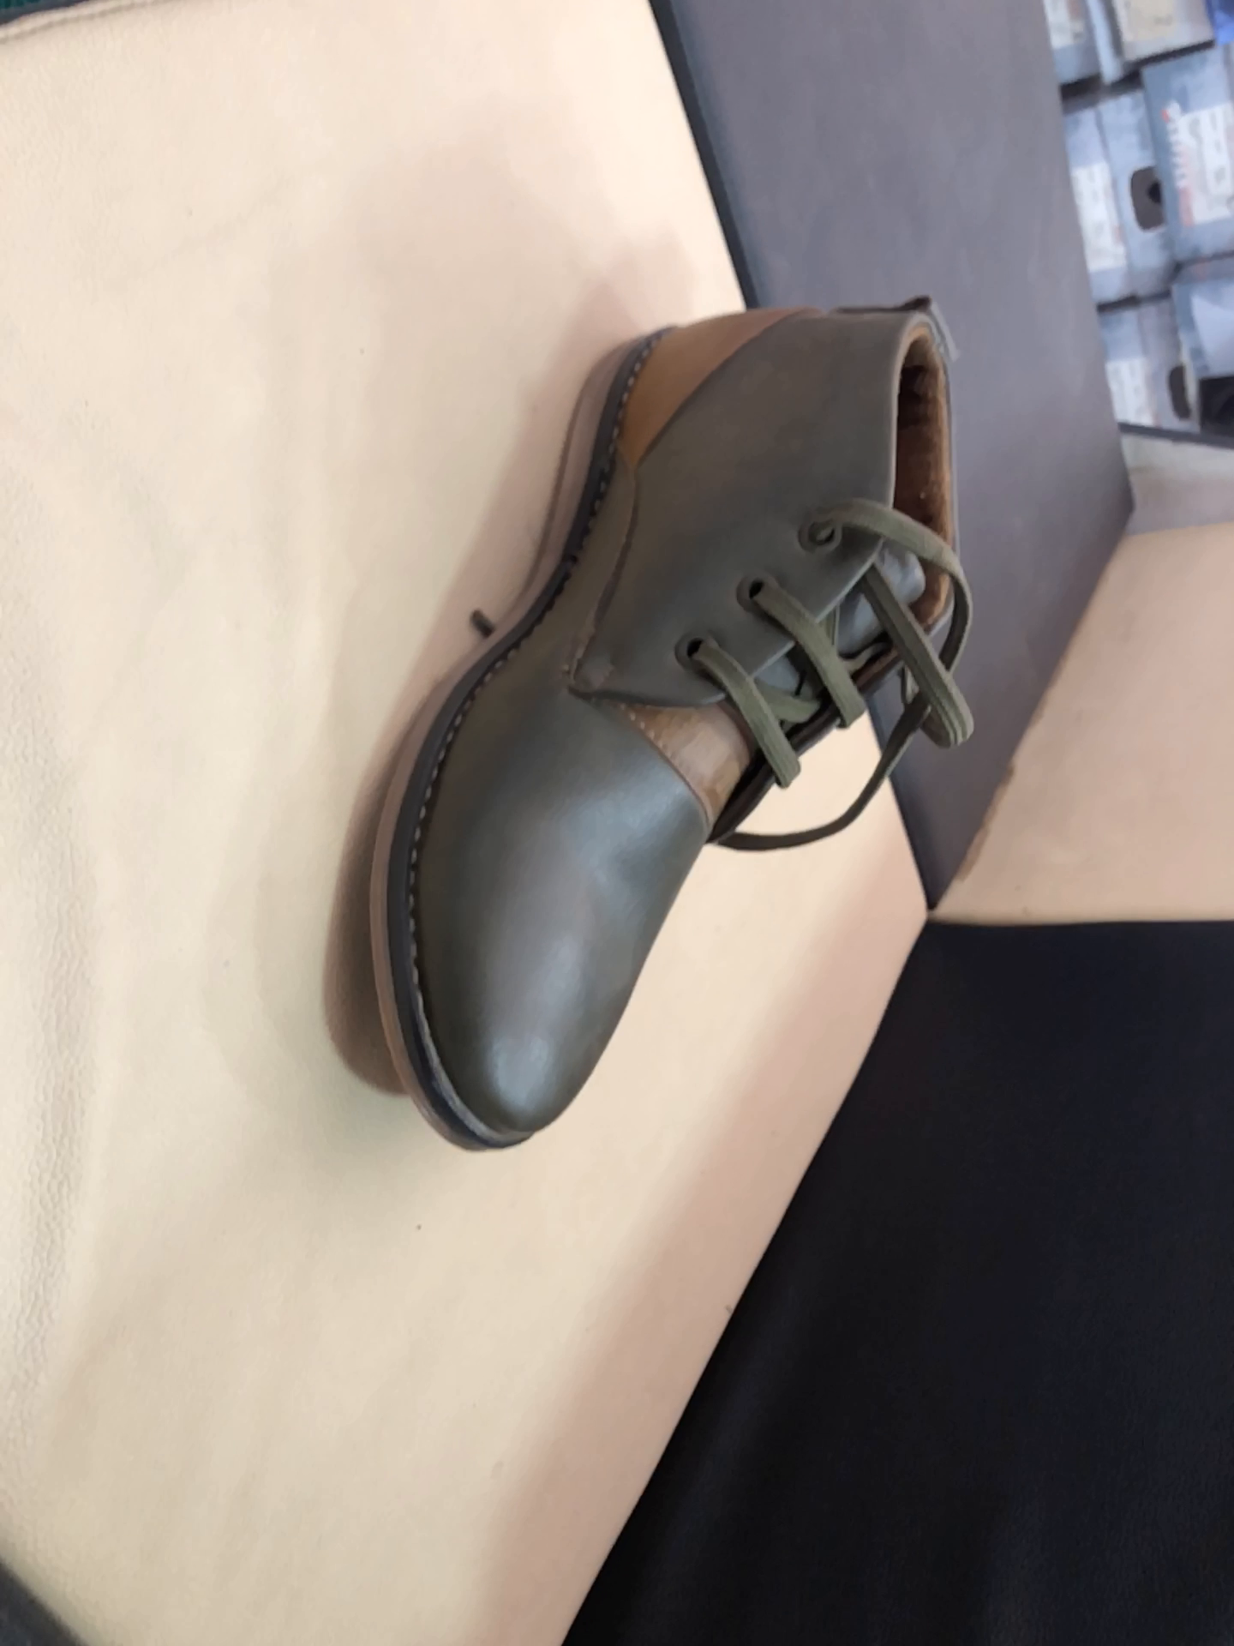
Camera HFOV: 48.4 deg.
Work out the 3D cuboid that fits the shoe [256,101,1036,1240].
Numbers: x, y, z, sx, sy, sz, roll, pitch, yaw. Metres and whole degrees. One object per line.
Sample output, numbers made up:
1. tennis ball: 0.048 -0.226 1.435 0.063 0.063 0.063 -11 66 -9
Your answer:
1. shoe: 0.025 -0.050 0.358 0.081 0.099 0.280 47 53 -44
